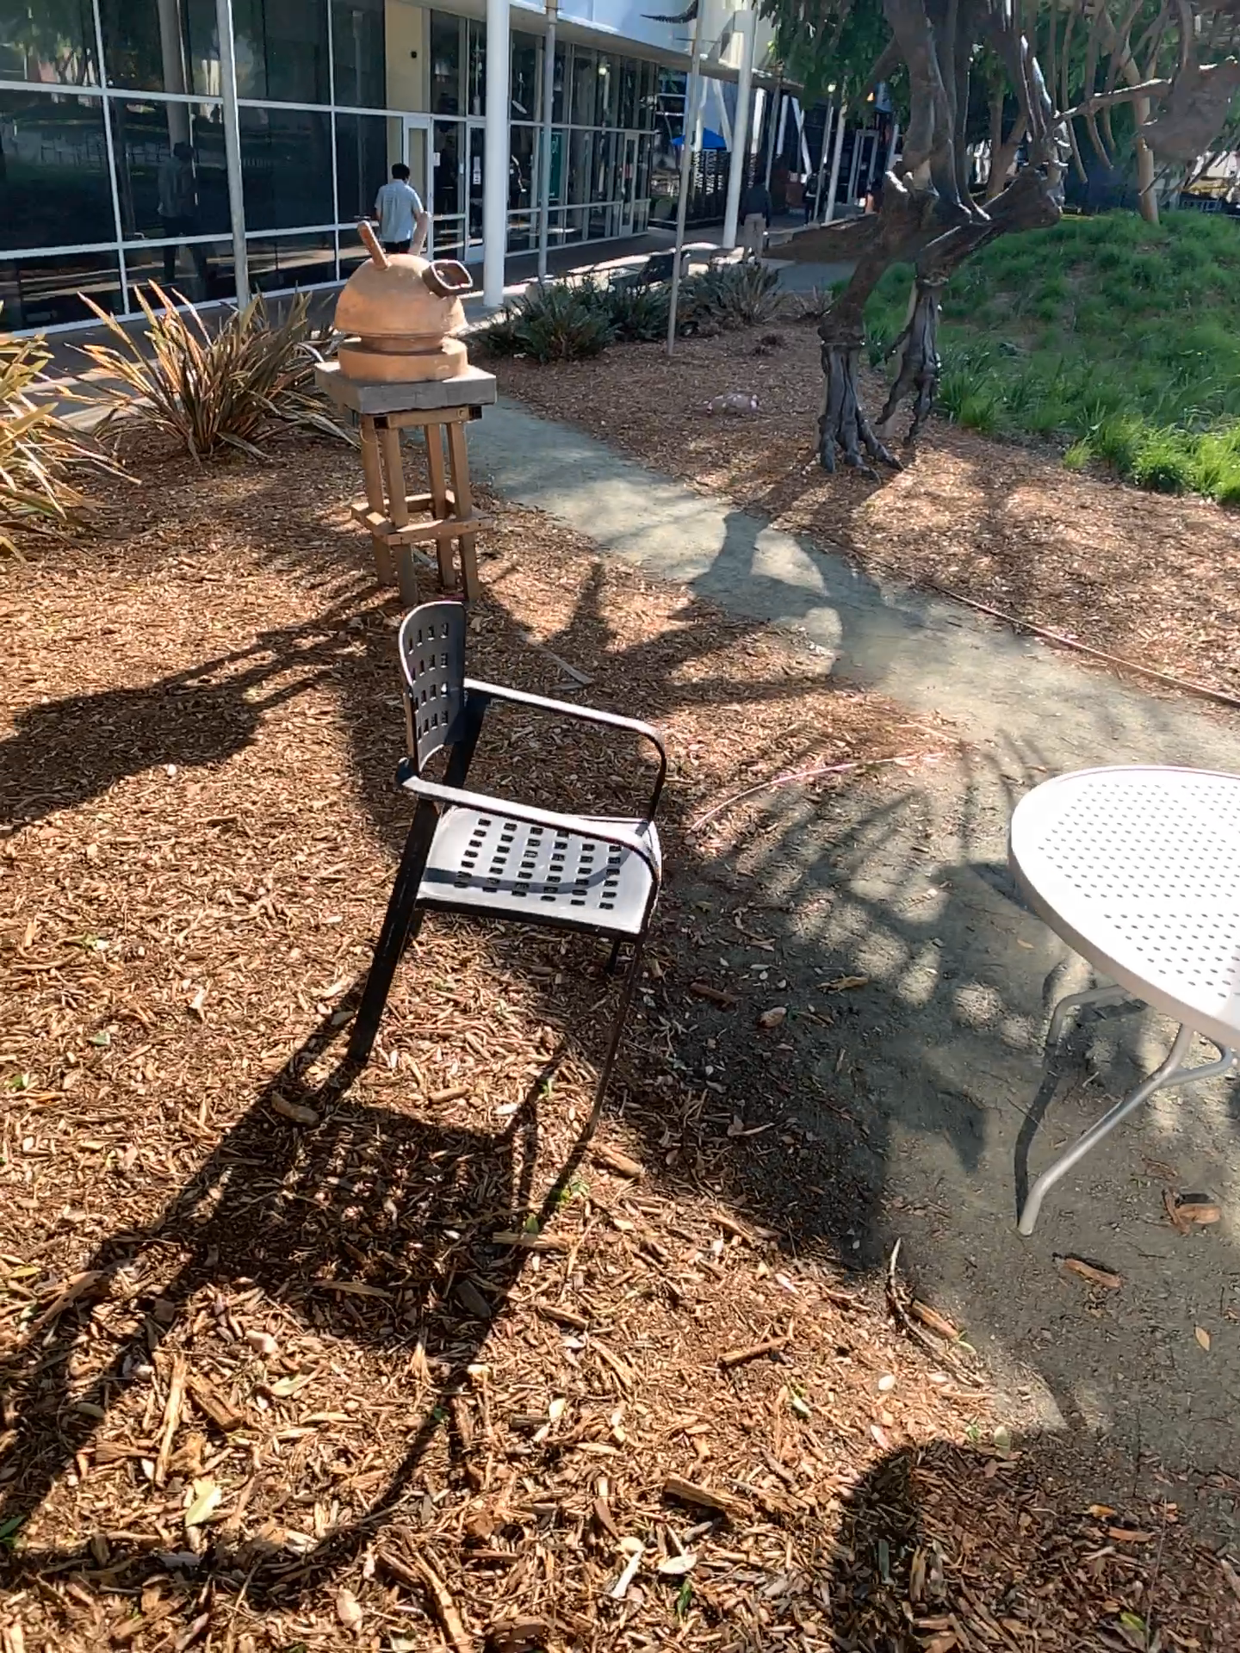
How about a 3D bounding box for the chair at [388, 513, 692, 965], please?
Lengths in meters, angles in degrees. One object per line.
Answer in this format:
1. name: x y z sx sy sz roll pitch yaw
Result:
1. chair: -0.153 -0.192 2.580 0.500 0.716 0.523 7 28 4
